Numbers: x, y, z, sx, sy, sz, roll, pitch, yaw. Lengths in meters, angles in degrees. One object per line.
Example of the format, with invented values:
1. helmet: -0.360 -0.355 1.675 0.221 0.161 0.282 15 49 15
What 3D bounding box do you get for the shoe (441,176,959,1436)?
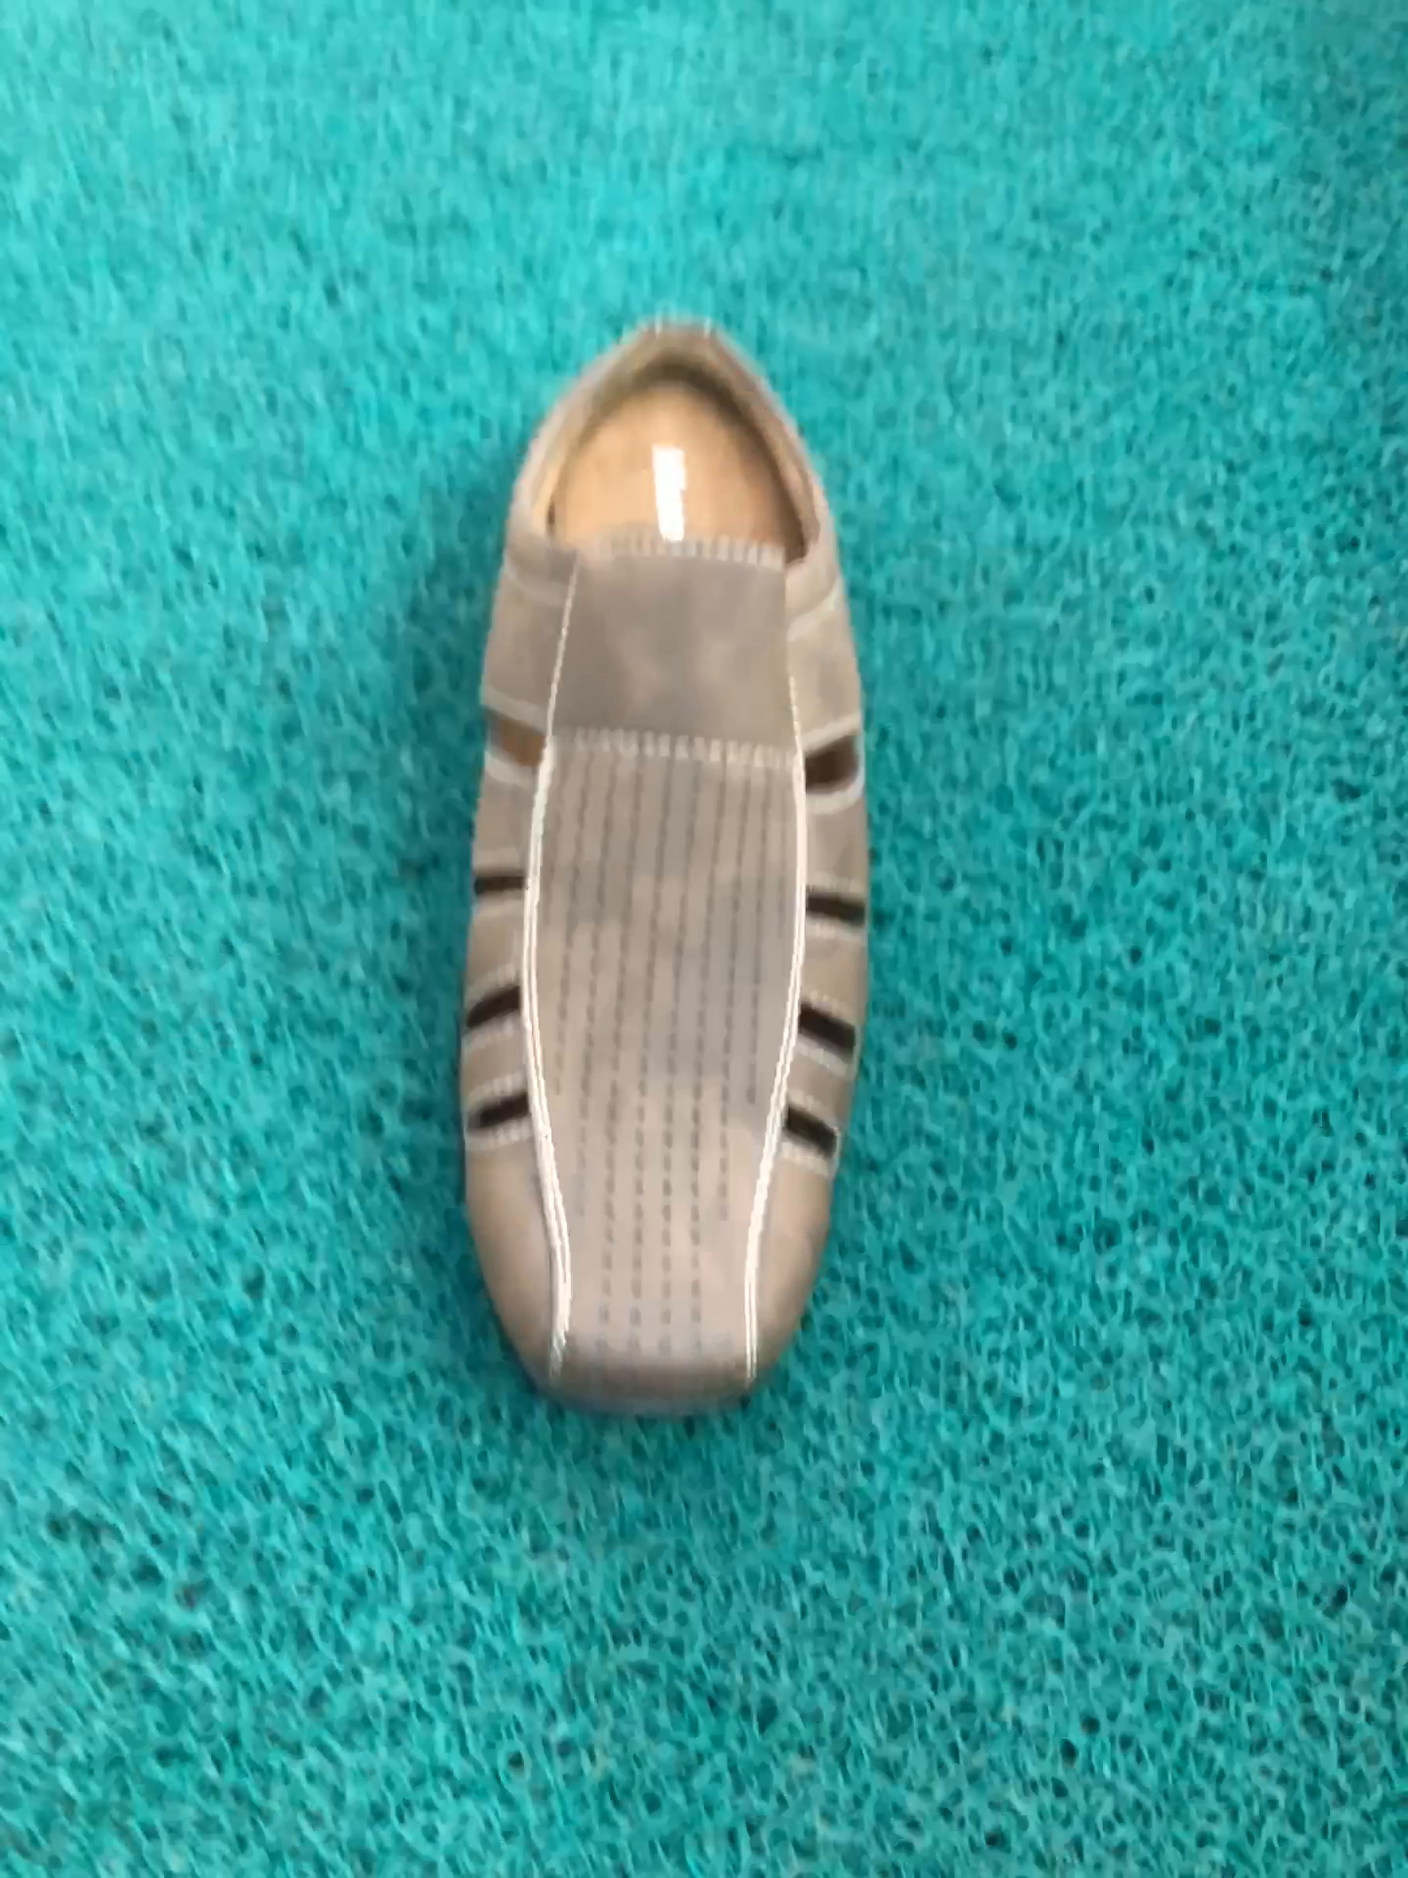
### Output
1. shoe: -0.008 -0.041 0.363 0.090 0.070 0.291 2 64 -8
